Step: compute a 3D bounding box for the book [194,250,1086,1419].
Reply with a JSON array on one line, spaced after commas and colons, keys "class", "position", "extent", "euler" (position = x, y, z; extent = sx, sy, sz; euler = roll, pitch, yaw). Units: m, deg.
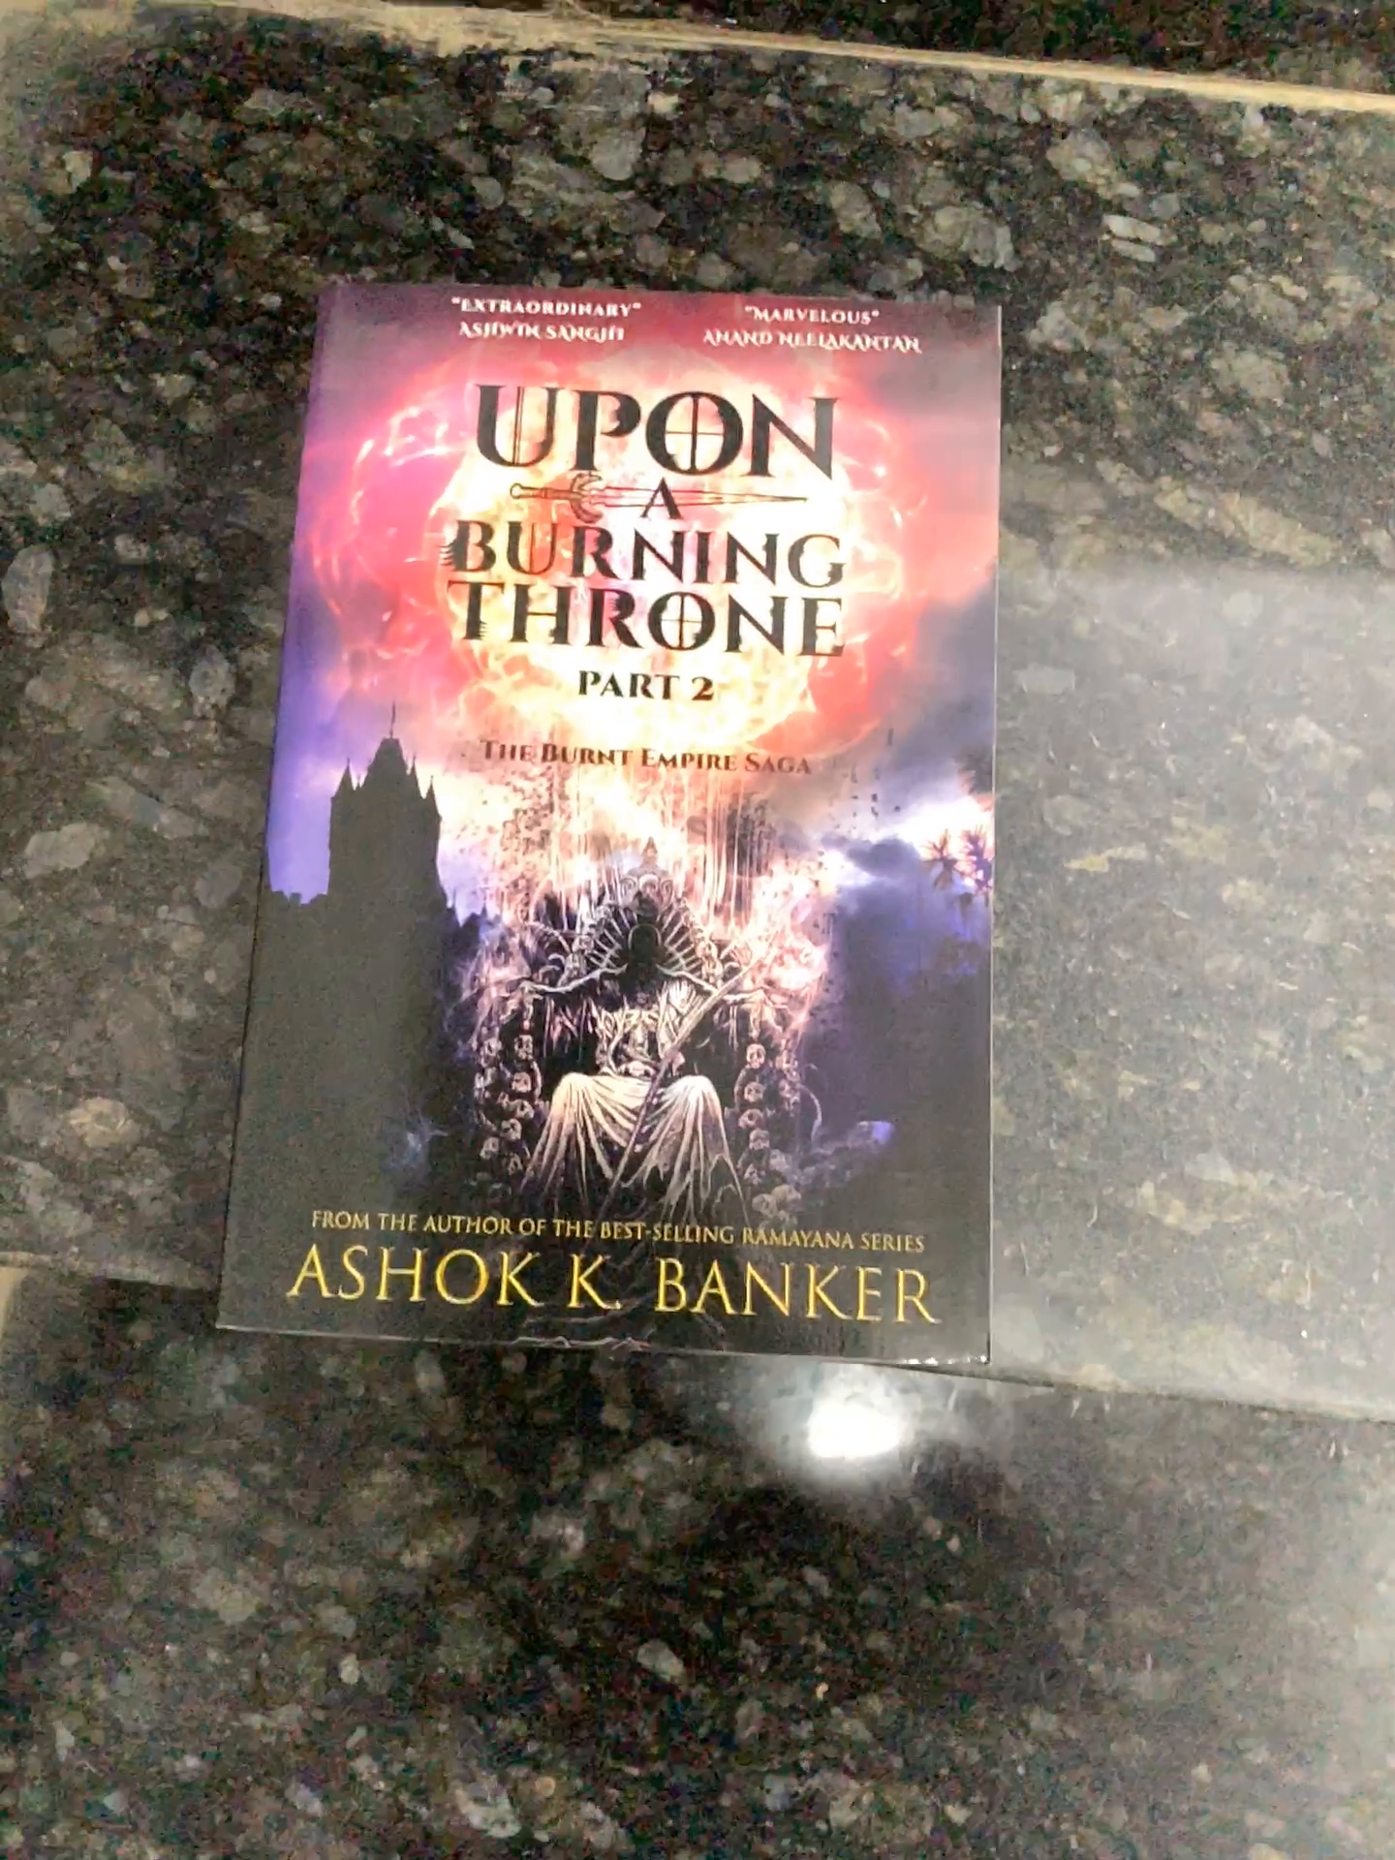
[{"class": "book", "position": [-0.006, -0.021, 0.261], "extent": [0.140, 0.030, 0.200], "euler": [2, 79, 0]}]
